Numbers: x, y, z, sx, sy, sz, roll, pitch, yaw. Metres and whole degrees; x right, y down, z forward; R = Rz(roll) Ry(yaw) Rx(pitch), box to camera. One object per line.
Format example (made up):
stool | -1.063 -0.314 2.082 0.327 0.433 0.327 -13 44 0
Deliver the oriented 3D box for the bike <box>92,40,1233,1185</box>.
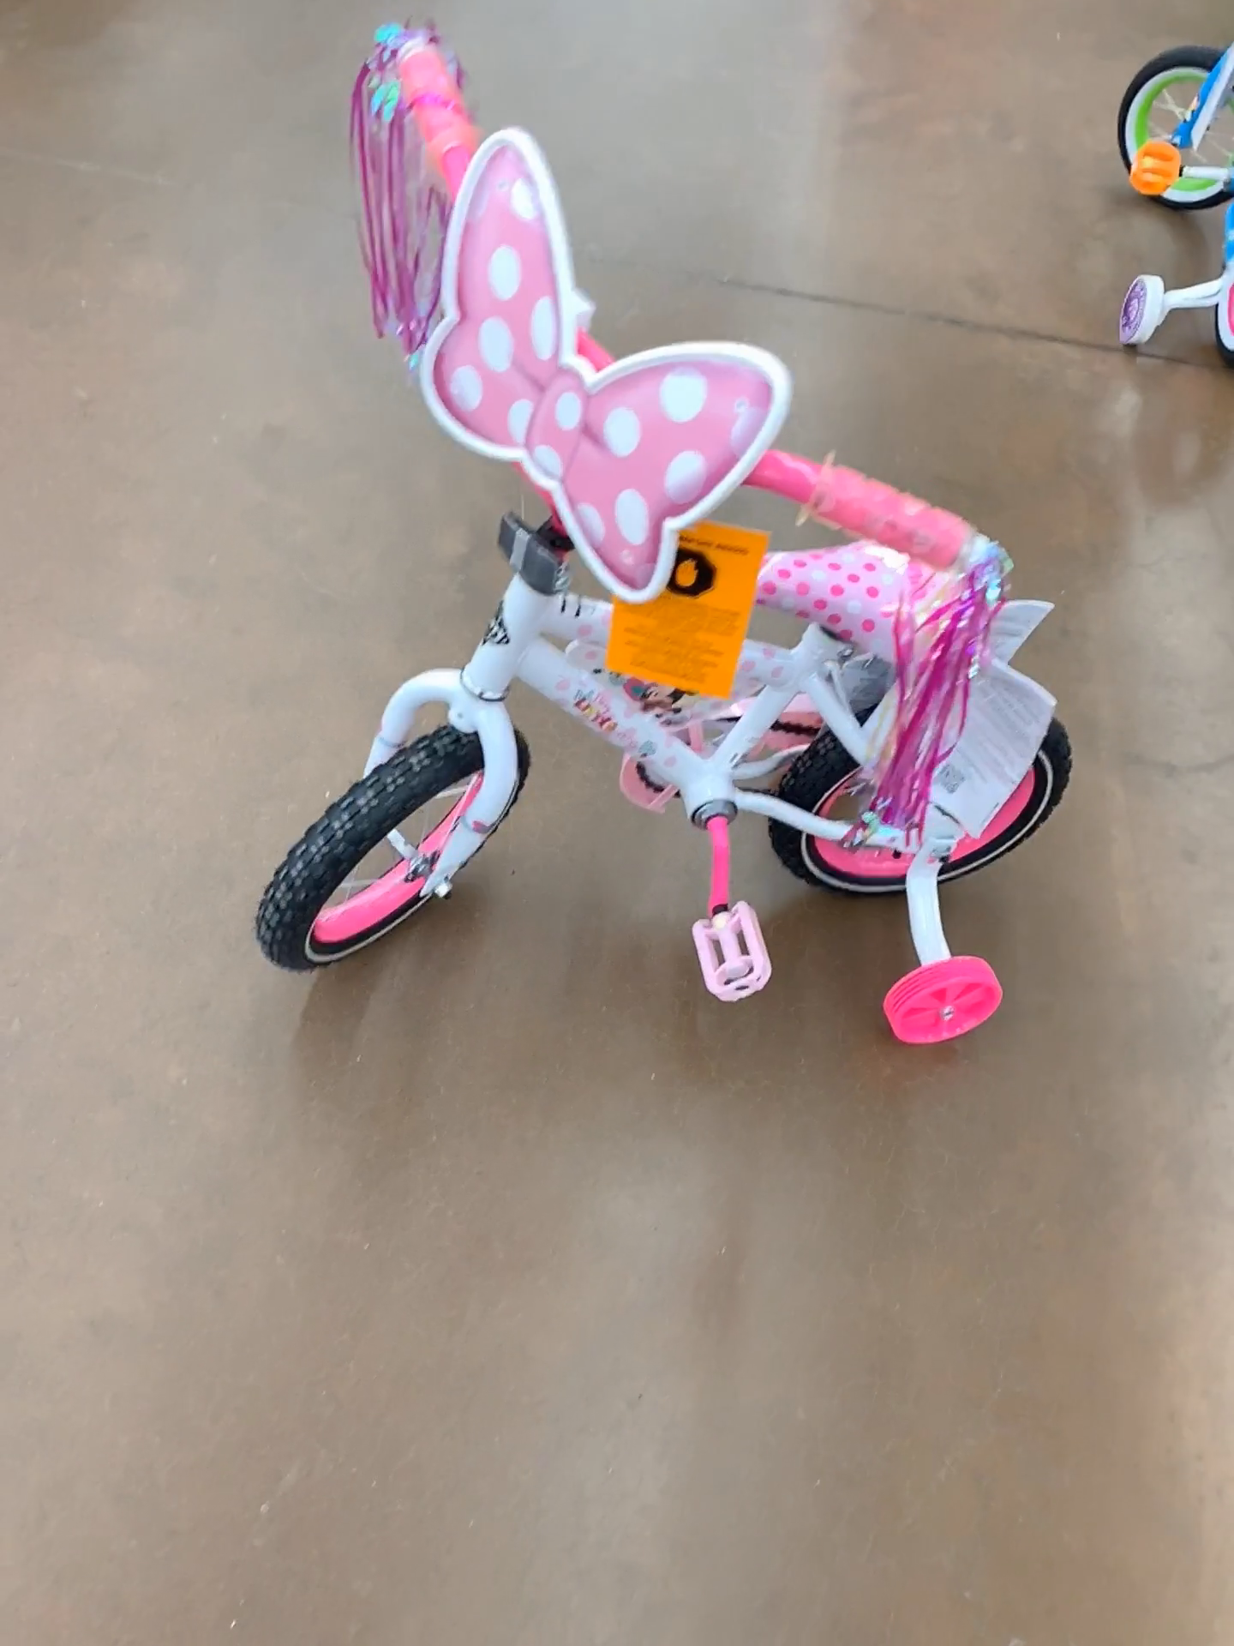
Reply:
bike | 0.054 -0.154 1.007 0.725 0.648 0.502 -10 52 -13
